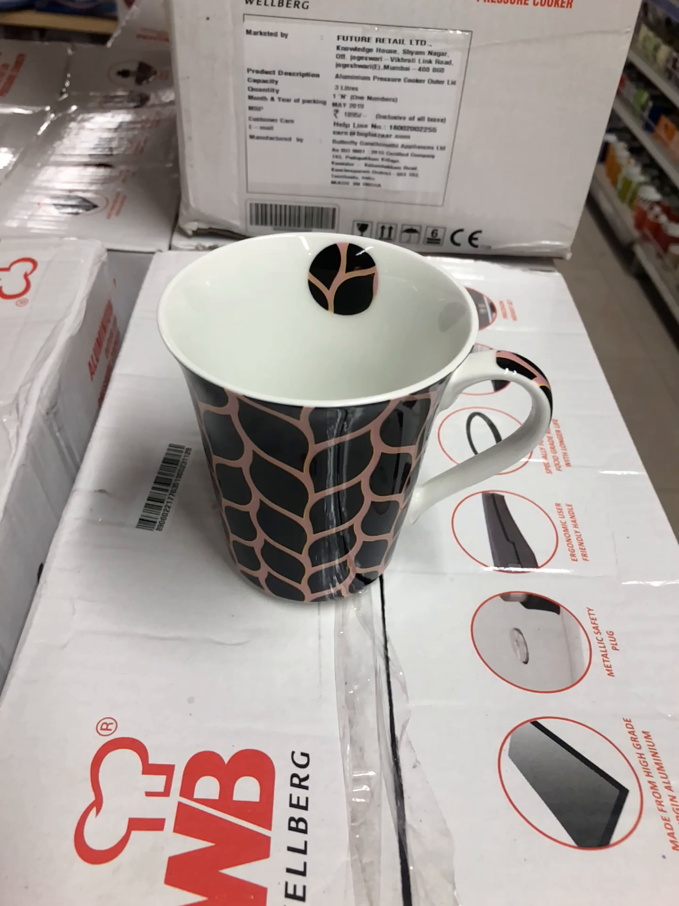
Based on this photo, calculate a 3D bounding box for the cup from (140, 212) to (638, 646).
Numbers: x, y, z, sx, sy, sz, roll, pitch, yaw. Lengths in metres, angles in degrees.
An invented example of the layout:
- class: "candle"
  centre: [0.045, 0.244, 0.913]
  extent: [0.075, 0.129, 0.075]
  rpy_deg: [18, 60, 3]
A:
- class: "cup"
  centre: [0.007, -0.006, 0.226]
  extent: [0.110, 0.089, 0.081]
  rpy_deg: [4, 41, -4]
